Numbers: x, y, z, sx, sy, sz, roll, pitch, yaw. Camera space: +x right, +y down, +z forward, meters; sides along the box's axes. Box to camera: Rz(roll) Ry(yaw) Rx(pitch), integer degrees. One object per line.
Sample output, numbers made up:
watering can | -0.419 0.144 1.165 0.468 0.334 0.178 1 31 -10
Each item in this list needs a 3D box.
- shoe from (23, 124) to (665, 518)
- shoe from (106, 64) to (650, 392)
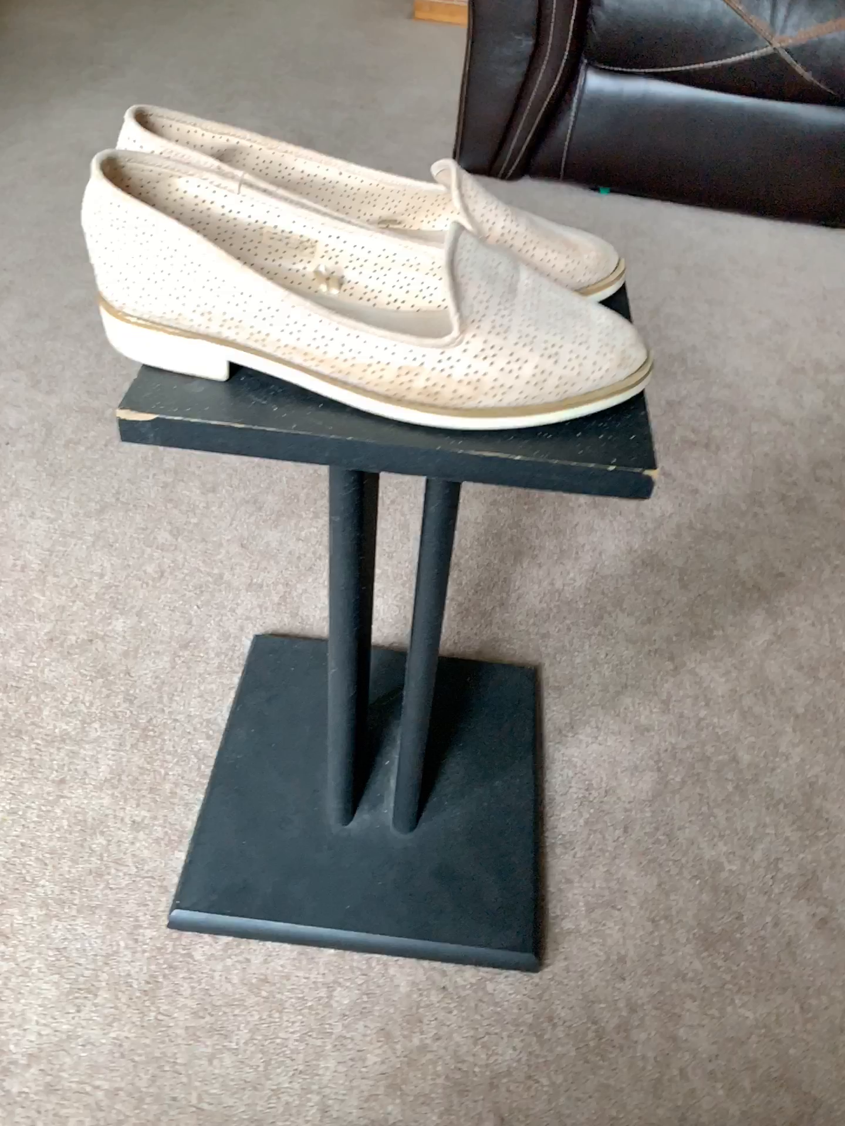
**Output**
shoe | -0.030 -0.106 0.384 0.250 0.079 0.081 14 45 -3
shoe | -0.023 -0.168 0.445 0.250 0.079 0.081 9 44 -11
